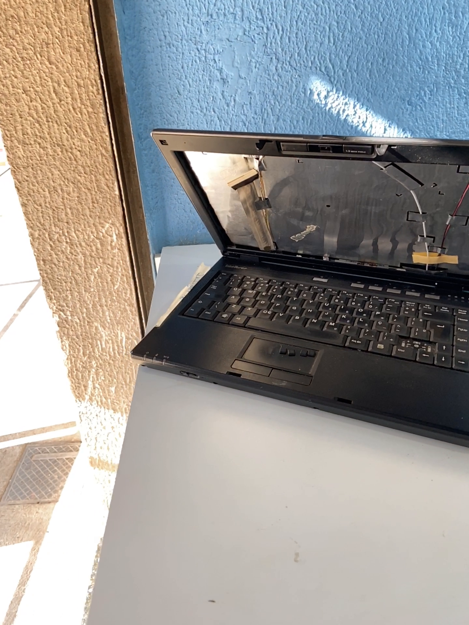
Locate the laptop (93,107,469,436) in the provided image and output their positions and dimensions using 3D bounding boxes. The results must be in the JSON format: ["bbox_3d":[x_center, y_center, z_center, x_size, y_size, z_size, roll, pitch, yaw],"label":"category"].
[{"bbox_3d":[0.086,-0.072,0.468,0.322,0.191,0.232,11,33,20],"label":"laptop"}]
